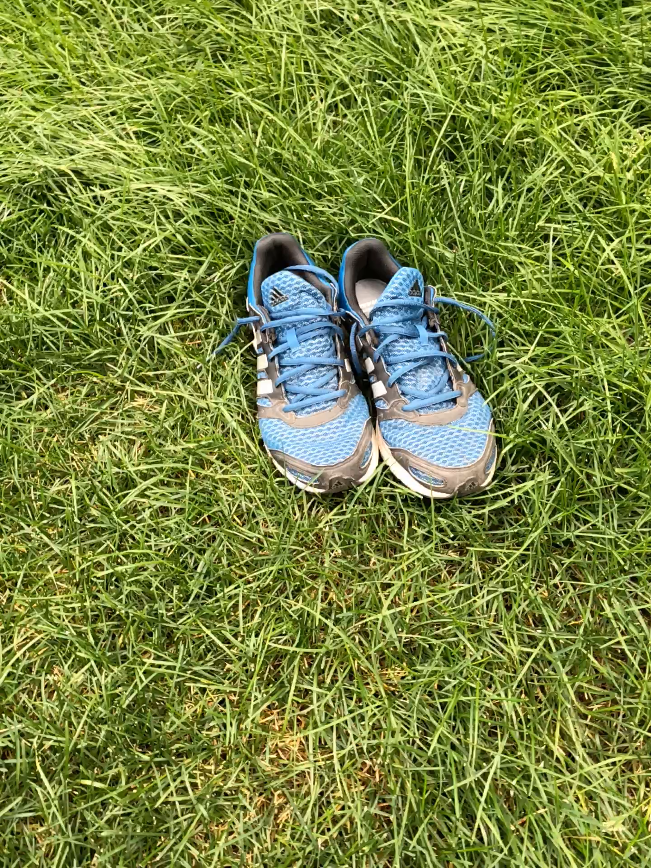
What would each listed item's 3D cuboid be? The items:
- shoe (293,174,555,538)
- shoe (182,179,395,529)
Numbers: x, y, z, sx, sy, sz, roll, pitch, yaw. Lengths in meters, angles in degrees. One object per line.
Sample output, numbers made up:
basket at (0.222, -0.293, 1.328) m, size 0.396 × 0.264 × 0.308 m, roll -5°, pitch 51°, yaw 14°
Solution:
shoe at (0.078, -0.070, 0.645) m, size 0.120 × 0.120 × 0.280 m, roll -19°, pitch 67°, yaw -1°
shoe at (-0.033, -0.072, 0.652) m, size 0.120 × 0.120 × 0.270 m, roll -15°, pitch 67°, yaw 1°
